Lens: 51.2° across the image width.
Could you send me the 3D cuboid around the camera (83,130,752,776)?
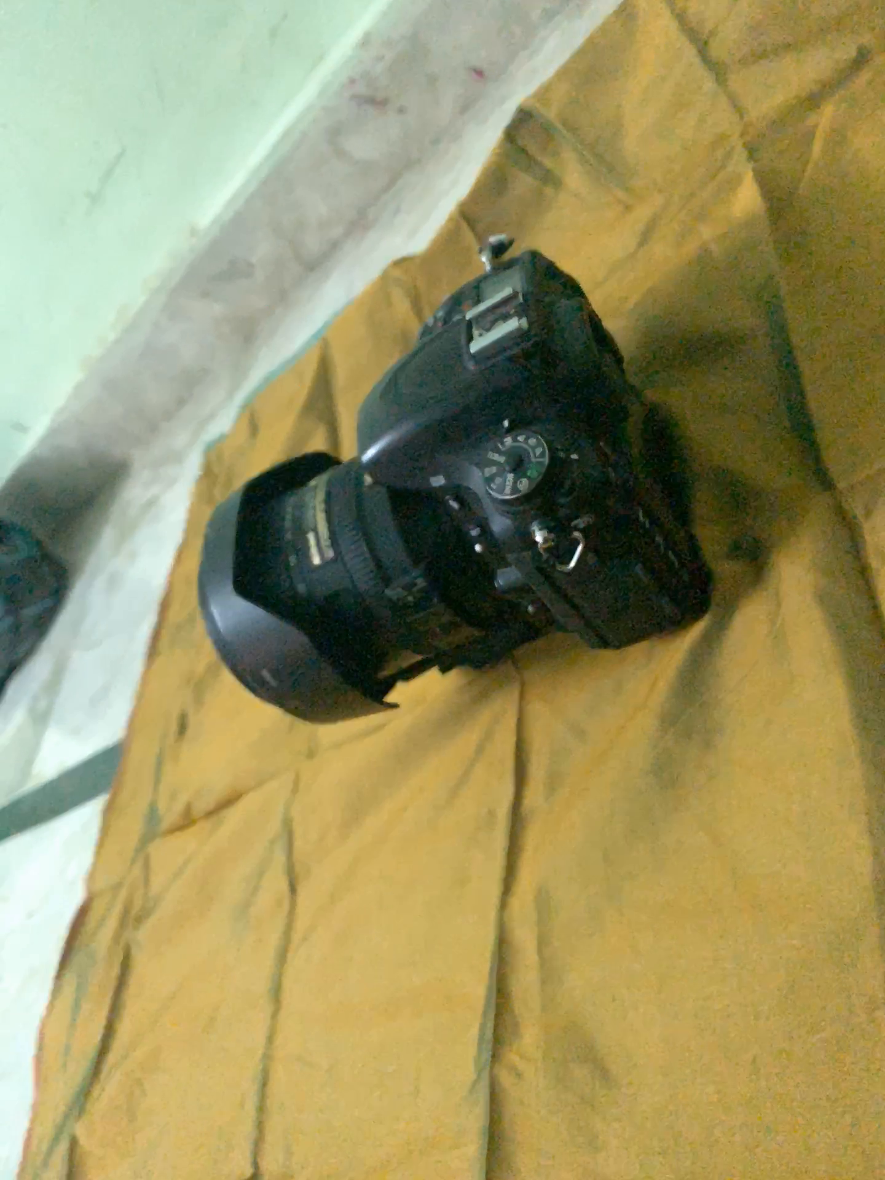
[{"bbox_3d":[-0.012,-0.038,0.339,0.193,0.099,0.140,-22,47,28],"label":"camera"}]
